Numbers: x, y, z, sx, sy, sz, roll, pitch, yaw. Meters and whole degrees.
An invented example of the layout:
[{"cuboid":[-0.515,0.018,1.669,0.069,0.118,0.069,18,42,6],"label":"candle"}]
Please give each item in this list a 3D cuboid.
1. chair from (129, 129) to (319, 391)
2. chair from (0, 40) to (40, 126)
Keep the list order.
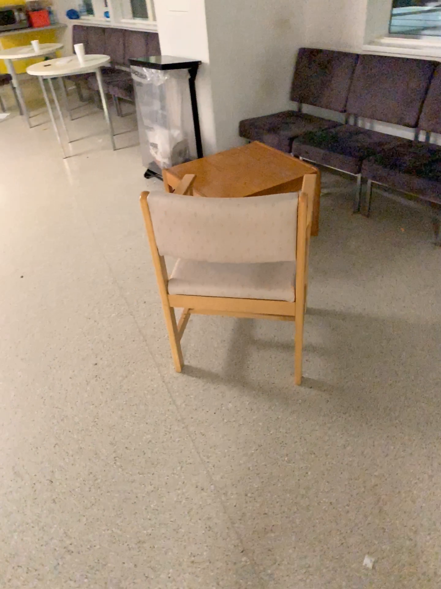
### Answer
[{"cuboid":[0.072,-0.130,1.622,0.510,0.753,0.515,3,37,12],"label":"chair"},{"cuboid":[-2.570,-2.295,4.811,0.944,0.664,0.613,24,45,34],"label":"chair"}]
